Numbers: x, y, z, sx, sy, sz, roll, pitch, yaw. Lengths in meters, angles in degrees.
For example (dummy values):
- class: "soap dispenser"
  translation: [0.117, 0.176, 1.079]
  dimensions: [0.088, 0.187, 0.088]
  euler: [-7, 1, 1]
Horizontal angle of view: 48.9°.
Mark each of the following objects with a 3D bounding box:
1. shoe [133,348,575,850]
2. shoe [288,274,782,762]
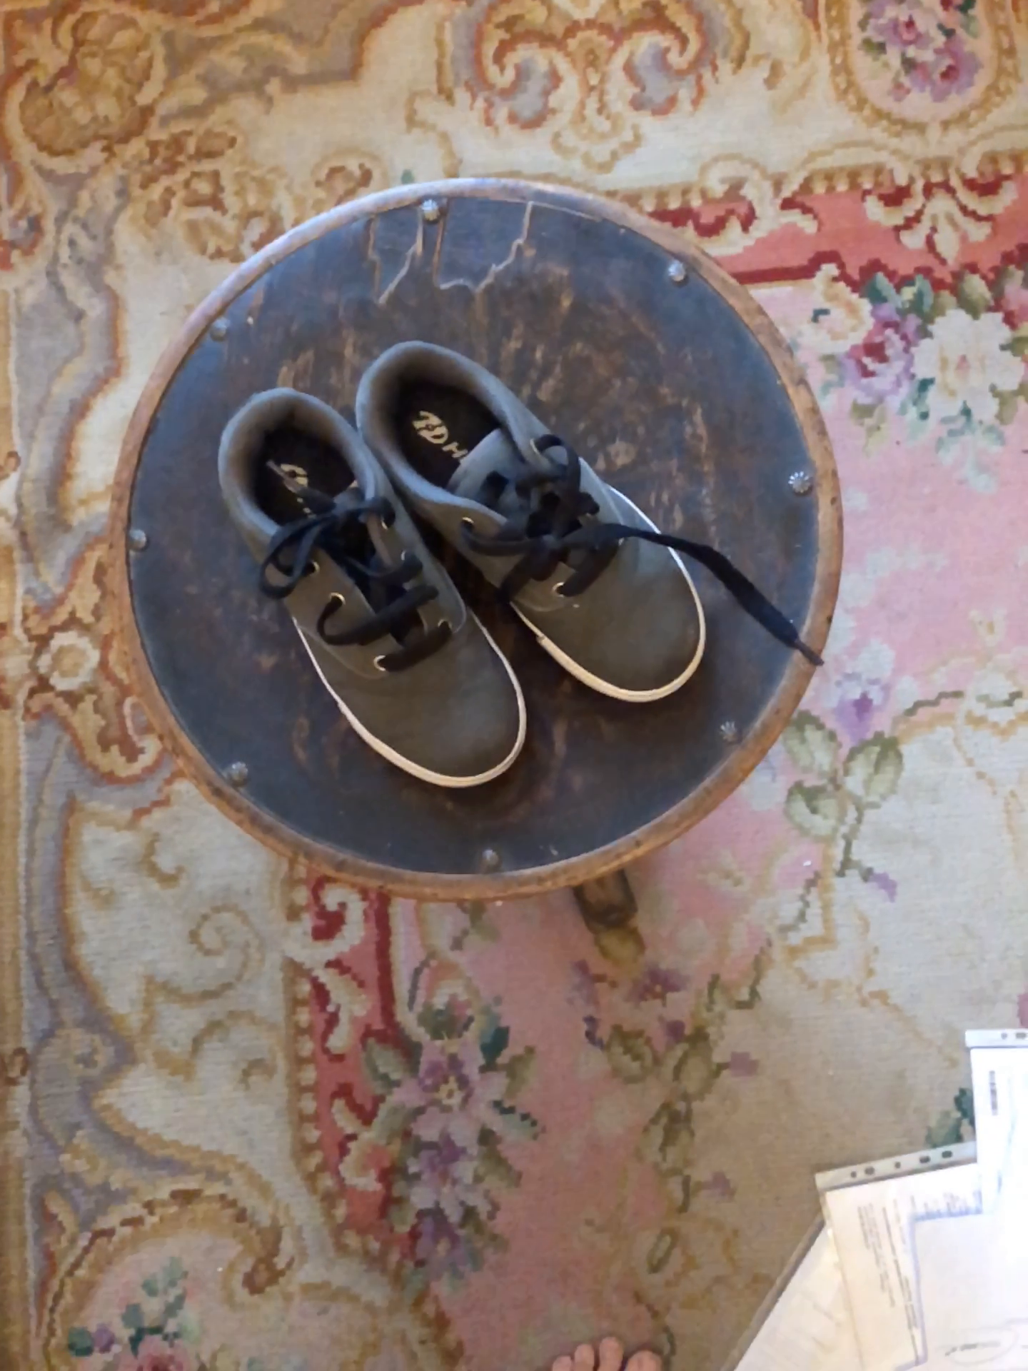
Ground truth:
- class: "shoe"
  translation: [-0.070, -0.035, 0.544]
  dimensions: [0.090, 0.100, 0.211]
  euler: [-36, 83, -1]
- class: "shoe"
  translation: [0.009, -0.072, 0.538]
  dimensions: [0.211, 0.100, 0.090]
  euler: [44, 87, 7]
